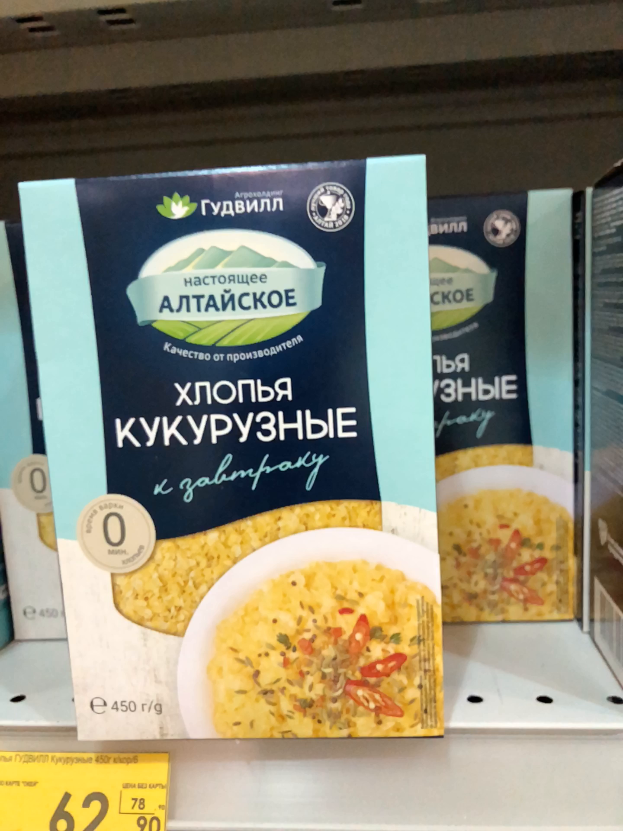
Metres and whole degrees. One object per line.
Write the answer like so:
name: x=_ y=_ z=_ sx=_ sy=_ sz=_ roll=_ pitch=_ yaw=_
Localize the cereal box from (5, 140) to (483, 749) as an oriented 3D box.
cereal box: x=-0.017 y=0.012 z=0.251 sx=0.140 sy=0.190 sz=0.060 roll=-3 pitch=7 yaw=3
